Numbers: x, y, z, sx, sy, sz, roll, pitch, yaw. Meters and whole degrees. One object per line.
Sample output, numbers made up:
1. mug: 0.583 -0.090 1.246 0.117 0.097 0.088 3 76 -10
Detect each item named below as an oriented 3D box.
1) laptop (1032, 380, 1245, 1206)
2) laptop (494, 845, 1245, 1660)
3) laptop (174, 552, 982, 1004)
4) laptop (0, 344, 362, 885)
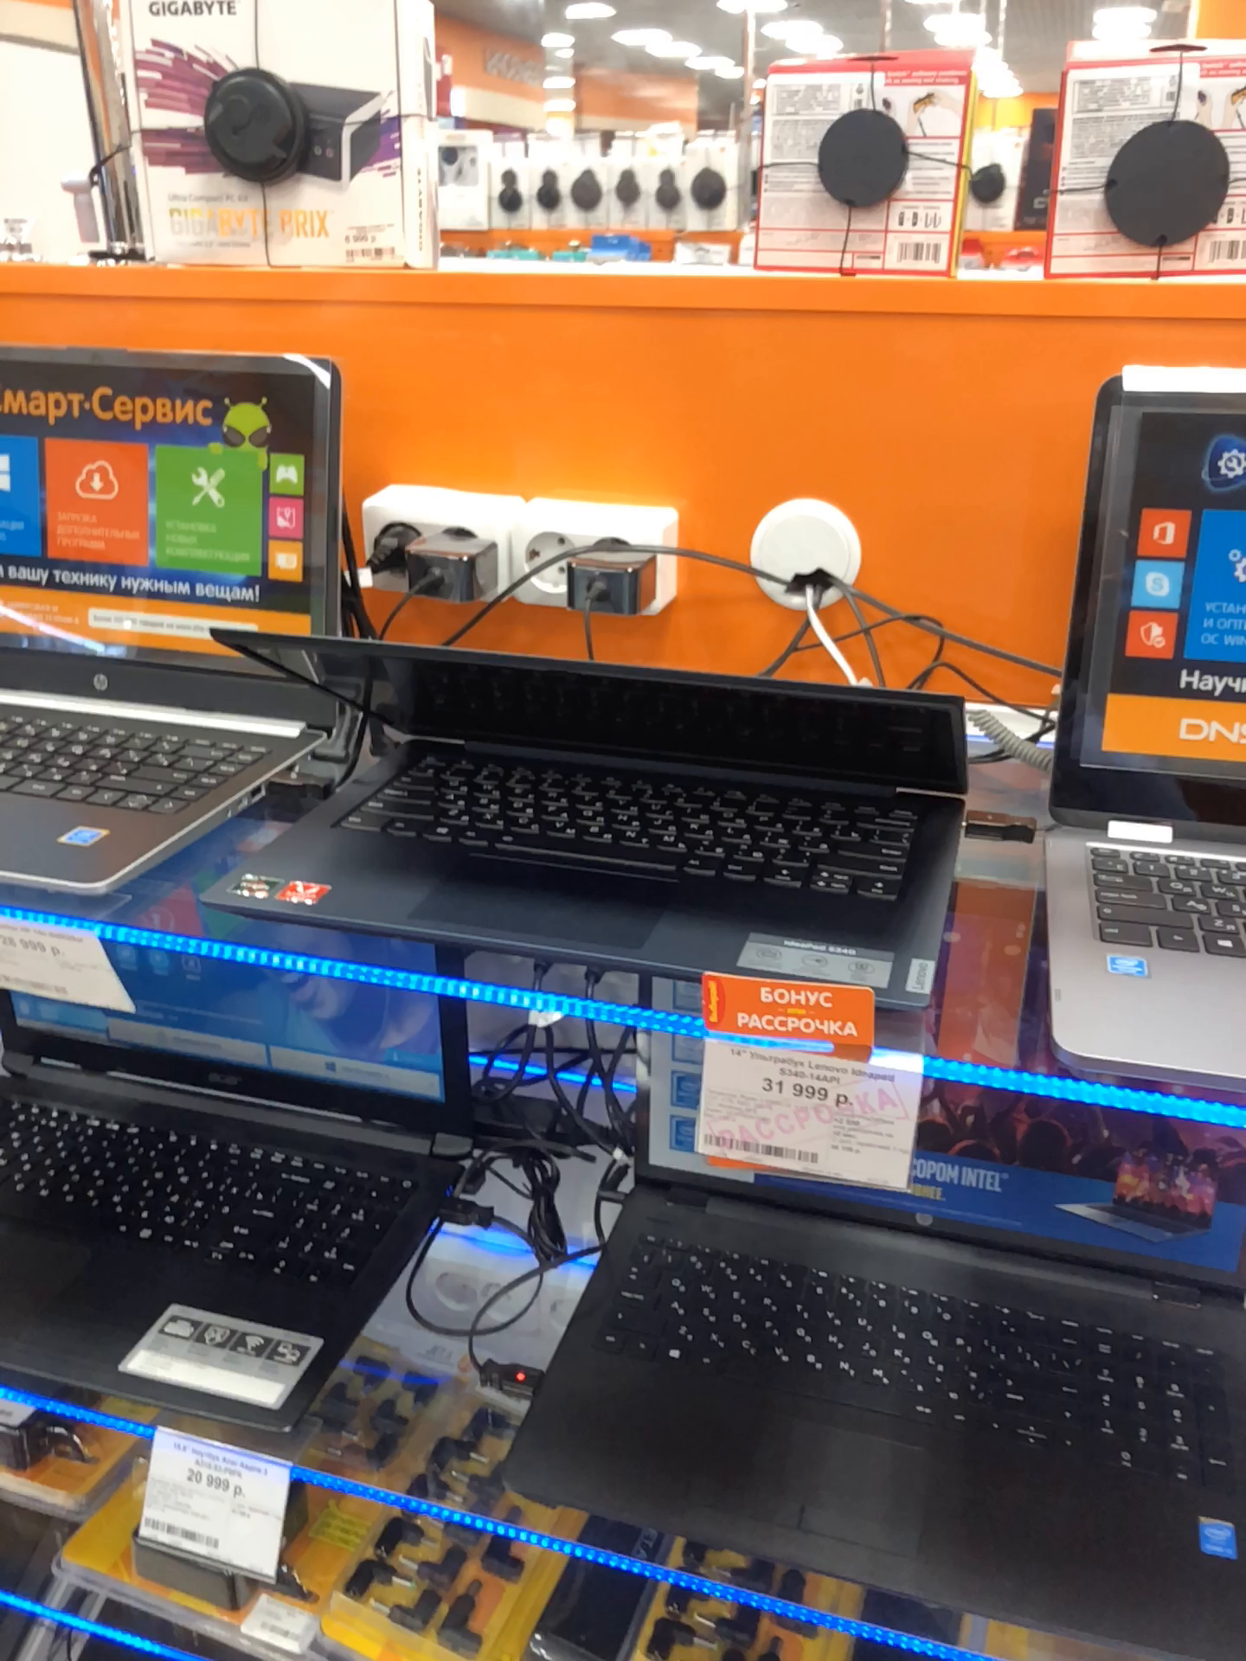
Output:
1. laptop: 0.347 -0.048 0.525 0.330 0.202 0.258 6 24 12
2. laptop: 0.158 0.184 0.691 0.354 0.227 0.259 6 26 17
3. laptop: -0.006 -0.042 0.613 0.302 0.108 0.204 7 24 17
4. laptop: -0.344 -0.134 0.720 0.302 0.200 0.251 7 25 16
